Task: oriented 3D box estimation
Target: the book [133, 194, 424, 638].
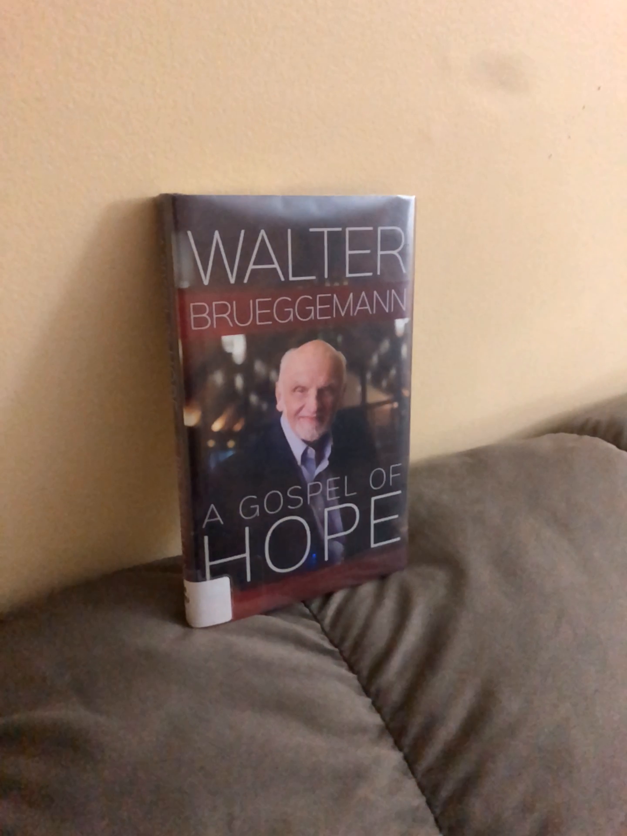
[{"bbox_3d":[-0.009,-0.005,0.363,0.141,0.210,0.027,-10,16,-25],"label":"book"}]
